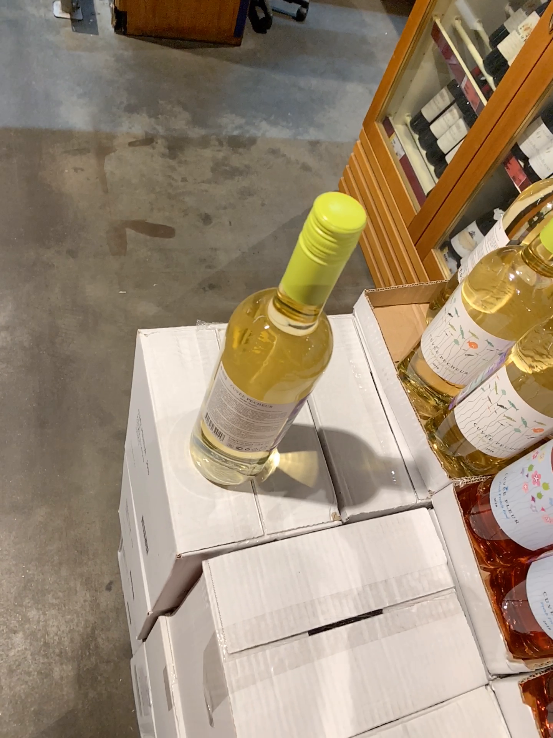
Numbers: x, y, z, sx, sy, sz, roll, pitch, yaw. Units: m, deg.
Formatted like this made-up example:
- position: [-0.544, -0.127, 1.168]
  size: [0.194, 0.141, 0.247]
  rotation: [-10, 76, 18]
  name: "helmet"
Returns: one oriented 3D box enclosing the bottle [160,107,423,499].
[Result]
- position: [-0.011, -0.011, 0.400]
  size: [0.090, 0.299, 0.090]
  rotation: [8, 57, -12]
  name: "bottle"
